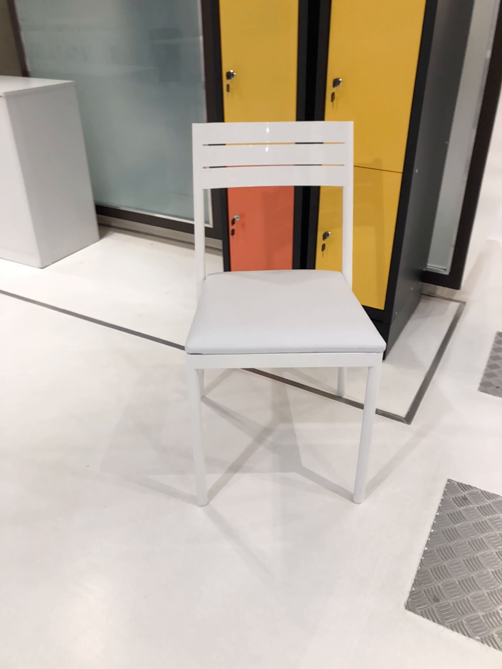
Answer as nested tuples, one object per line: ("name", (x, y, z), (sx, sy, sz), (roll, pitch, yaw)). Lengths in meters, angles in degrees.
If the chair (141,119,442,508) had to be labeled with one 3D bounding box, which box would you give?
("chair", (0.071, -0.062, 1.295), (0.480, 0.734, 0.534), (-1, 31, 1))
